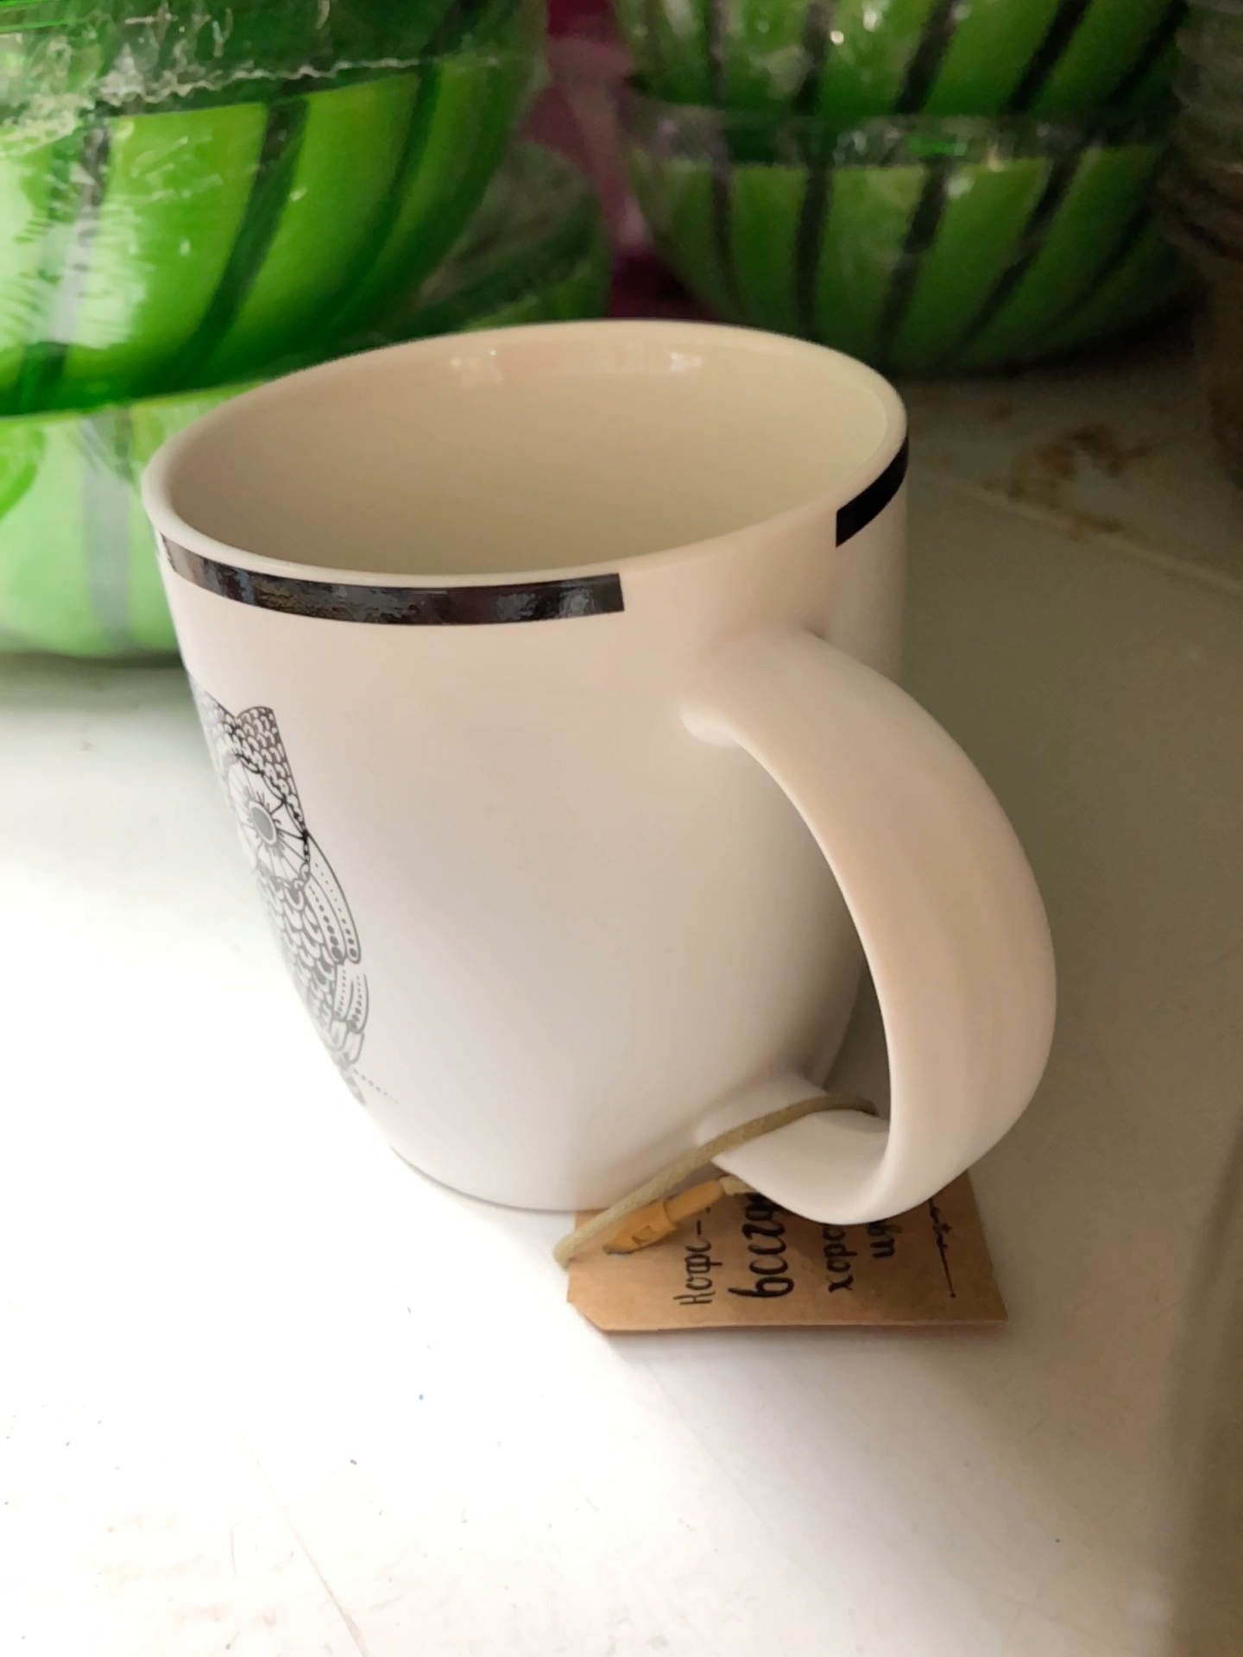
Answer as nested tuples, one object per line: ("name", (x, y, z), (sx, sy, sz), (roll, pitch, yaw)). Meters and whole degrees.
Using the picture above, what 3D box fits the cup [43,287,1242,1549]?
("cup", (-0.001, -0.003, 0.173), (0.077, 0.093, 0.111), (-26, 38, -29))
